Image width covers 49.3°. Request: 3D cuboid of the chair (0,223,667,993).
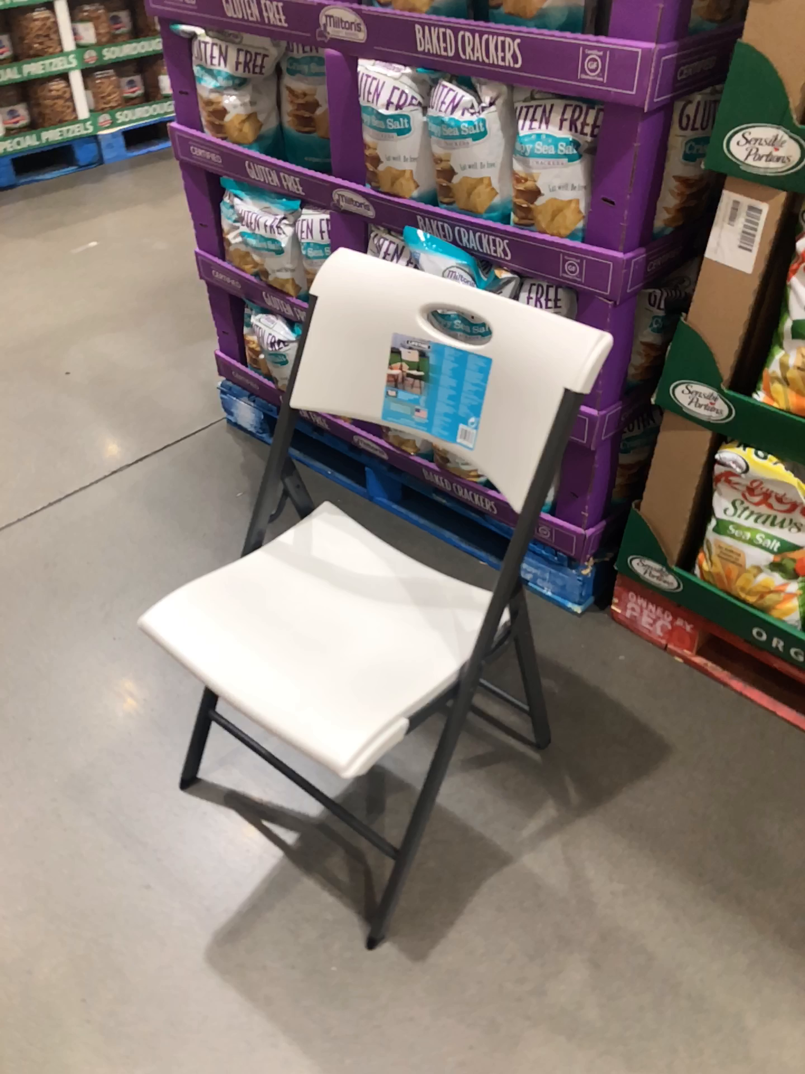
[{"bbox_3d":[-0.069,0.078,1.294,0.546,0.790,0.596,28,48,31],"label":"chair"}]
